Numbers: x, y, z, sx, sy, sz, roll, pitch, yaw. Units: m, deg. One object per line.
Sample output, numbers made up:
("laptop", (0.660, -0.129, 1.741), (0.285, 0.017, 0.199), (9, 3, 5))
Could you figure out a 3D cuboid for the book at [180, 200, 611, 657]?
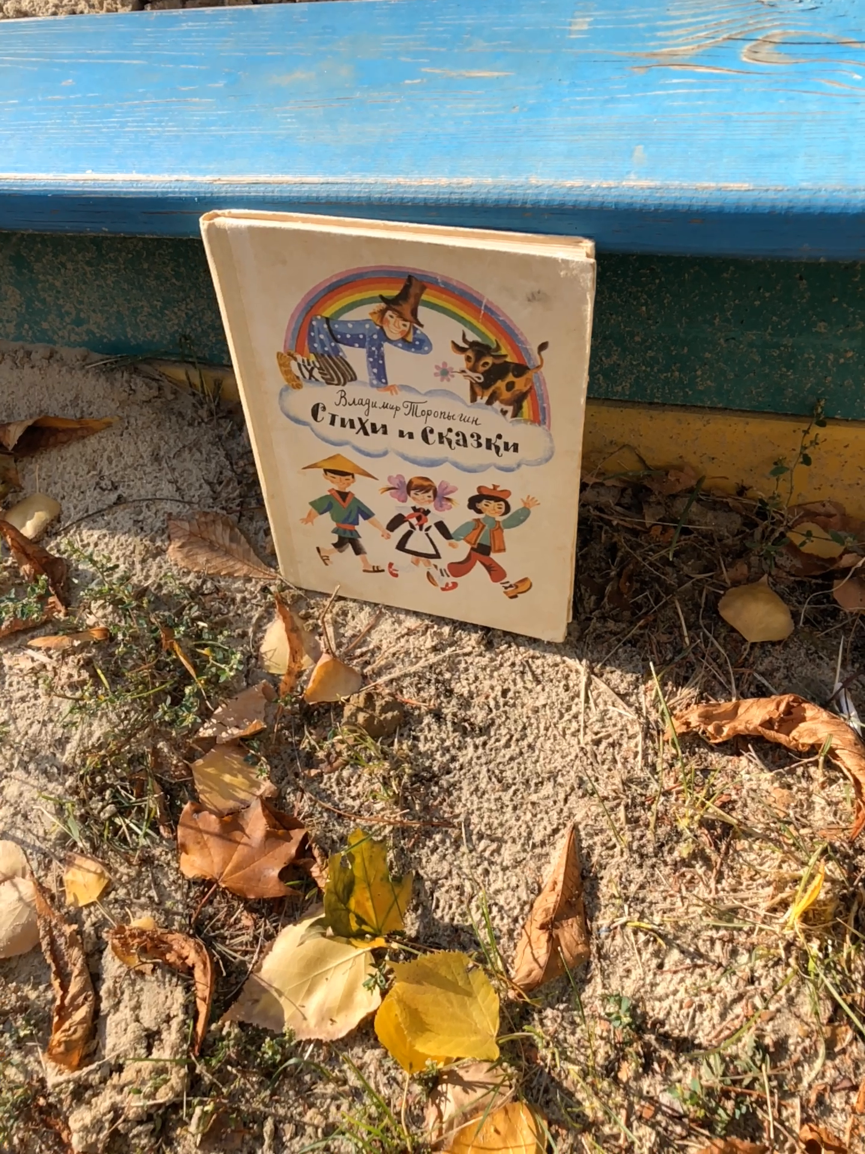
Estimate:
("book", (-0.012, -0.062, 0.454), (0.178, 0.213, 0.024), (12, 45, 17))
